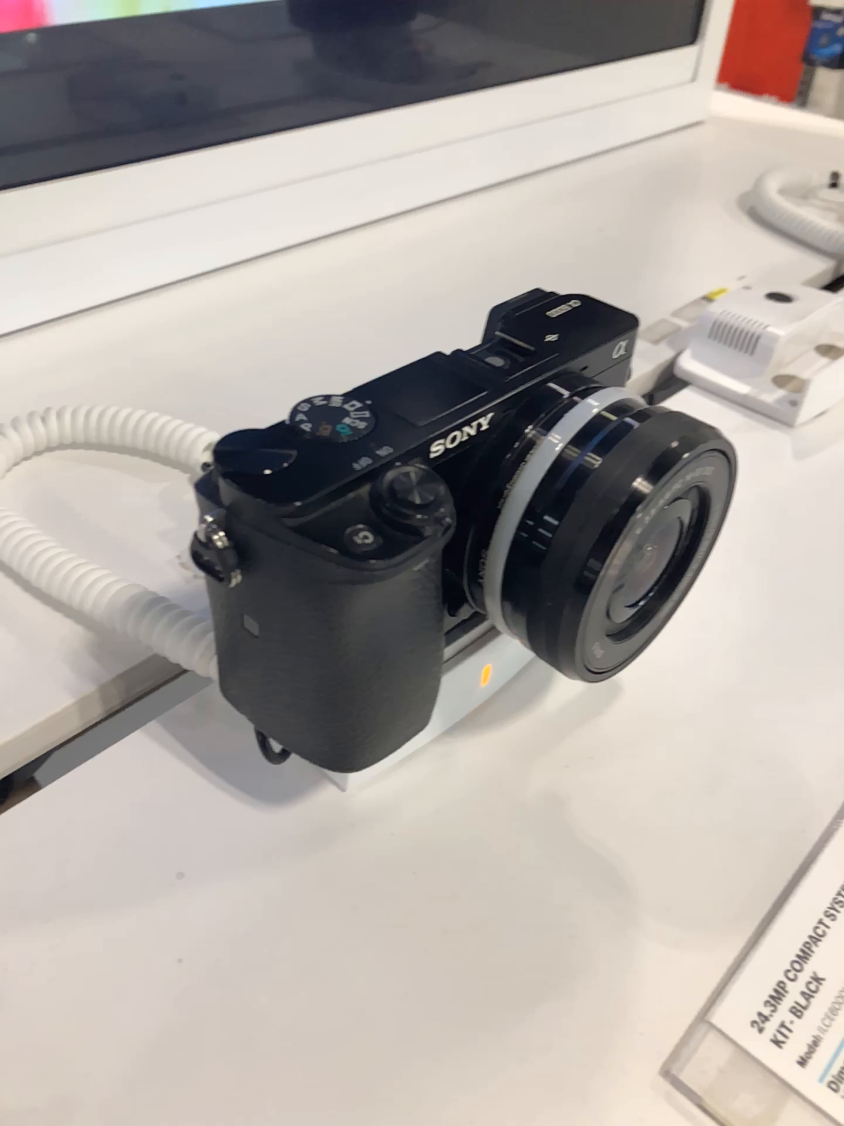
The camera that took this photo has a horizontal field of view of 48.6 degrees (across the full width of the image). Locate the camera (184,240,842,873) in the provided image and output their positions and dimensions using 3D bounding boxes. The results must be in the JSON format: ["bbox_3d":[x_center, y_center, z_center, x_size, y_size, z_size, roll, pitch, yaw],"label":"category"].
[{"bbox_3d":[0.022,-0.012,0.205,0.070,0.070,0.120,32,47,30],"label":"camera"}]
